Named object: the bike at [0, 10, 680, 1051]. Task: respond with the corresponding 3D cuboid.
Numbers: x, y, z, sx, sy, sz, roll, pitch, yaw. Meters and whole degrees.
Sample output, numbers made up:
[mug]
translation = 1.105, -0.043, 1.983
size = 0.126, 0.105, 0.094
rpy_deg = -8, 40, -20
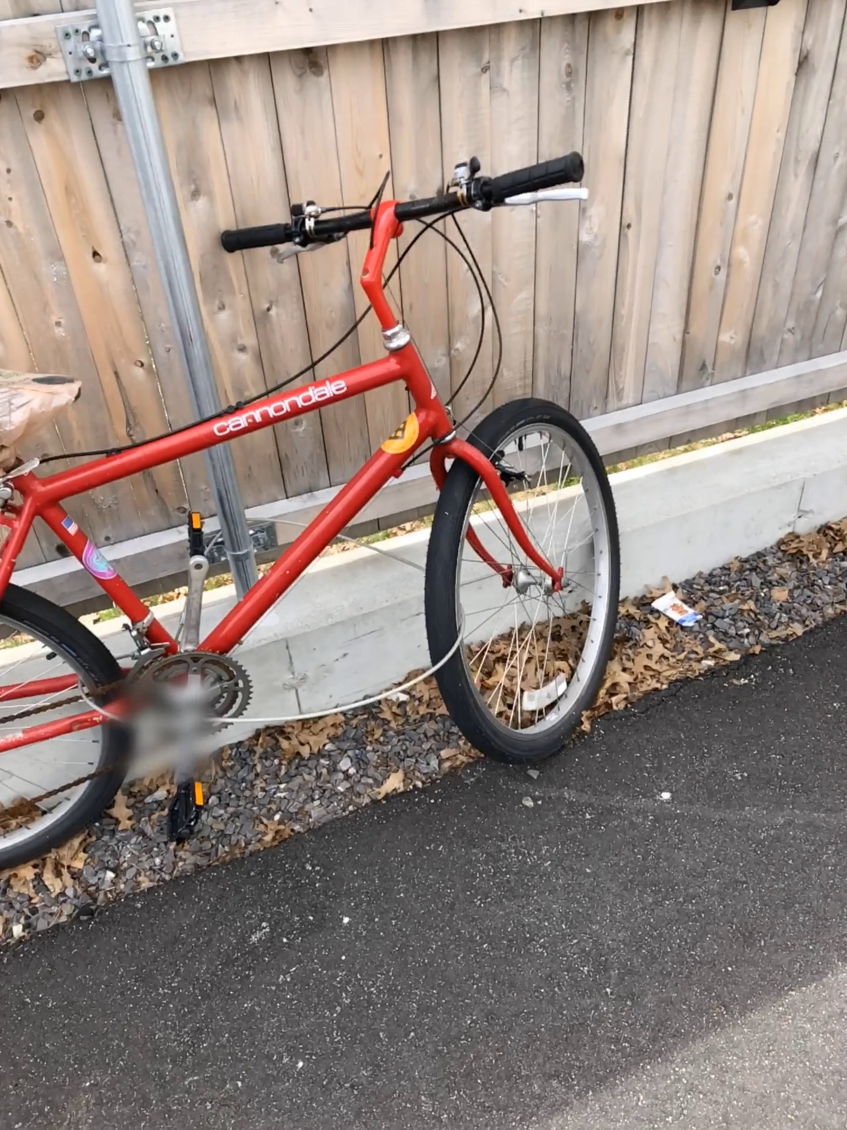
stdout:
[bike]
translation = -0.400, -0.126, 1.462
size = 1.476, 1.001, 0.595
rpy_deg = -19, 38, -14
